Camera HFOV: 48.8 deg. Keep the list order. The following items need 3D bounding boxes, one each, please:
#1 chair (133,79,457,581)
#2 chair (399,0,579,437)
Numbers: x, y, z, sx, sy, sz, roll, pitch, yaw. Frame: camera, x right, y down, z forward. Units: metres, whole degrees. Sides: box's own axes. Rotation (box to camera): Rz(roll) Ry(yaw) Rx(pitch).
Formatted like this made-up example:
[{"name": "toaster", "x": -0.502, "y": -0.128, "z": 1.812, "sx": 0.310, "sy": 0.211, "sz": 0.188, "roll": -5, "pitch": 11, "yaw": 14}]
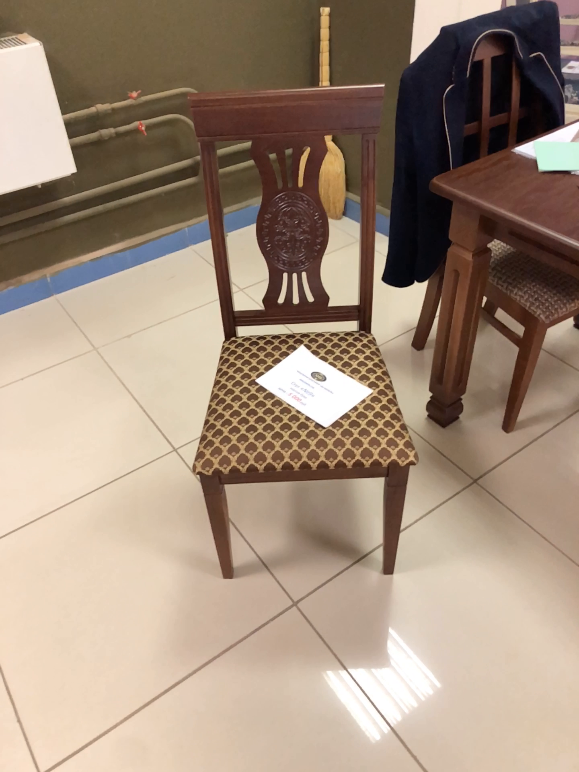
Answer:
[{"name": "chair", "x": 0.026, "y": -0.065, "z": 1.339, "sx": 0.435, "sy": 0.935, "sz": 0.472, "roll": -2, "pitch": 41, "yaw": 1}, {"name": "chair", "x": 0.657, "y": -0.432, "z": 1.730, "sx": 0.431, "sy": 0.955, "sz": 0.492, "roll": -24, "pitch": 45, "yaw": -22}]
